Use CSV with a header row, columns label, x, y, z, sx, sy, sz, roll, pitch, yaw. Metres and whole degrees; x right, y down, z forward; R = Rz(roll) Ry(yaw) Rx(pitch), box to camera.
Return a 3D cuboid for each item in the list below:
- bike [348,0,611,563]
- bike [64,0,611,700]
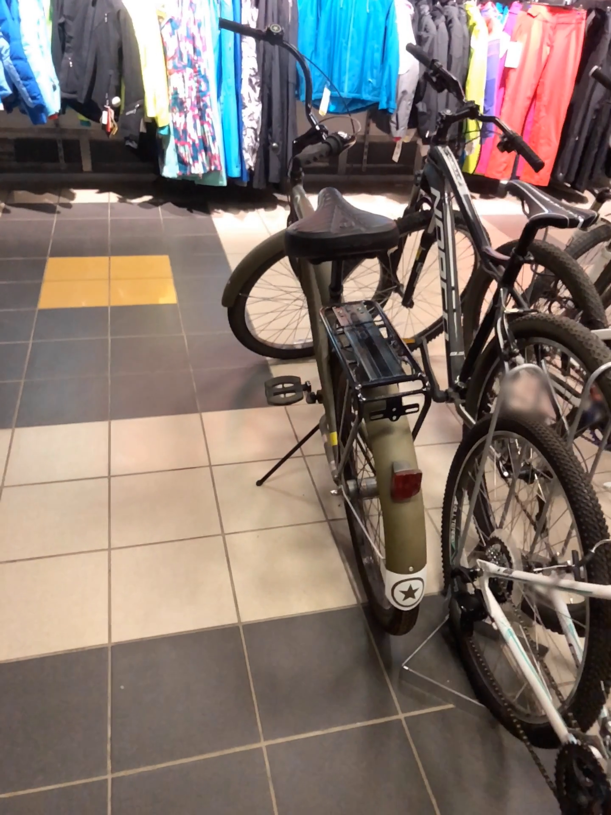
label,x,y,z,sx,sy,sz,roll,pitch,yaw
bike,0.519,-0.476,1.947,0.663,1.228,0.979,3,40,-3
bike,0.182,-0.336,1.703,0.831,1.130,1.504,5,37,1
